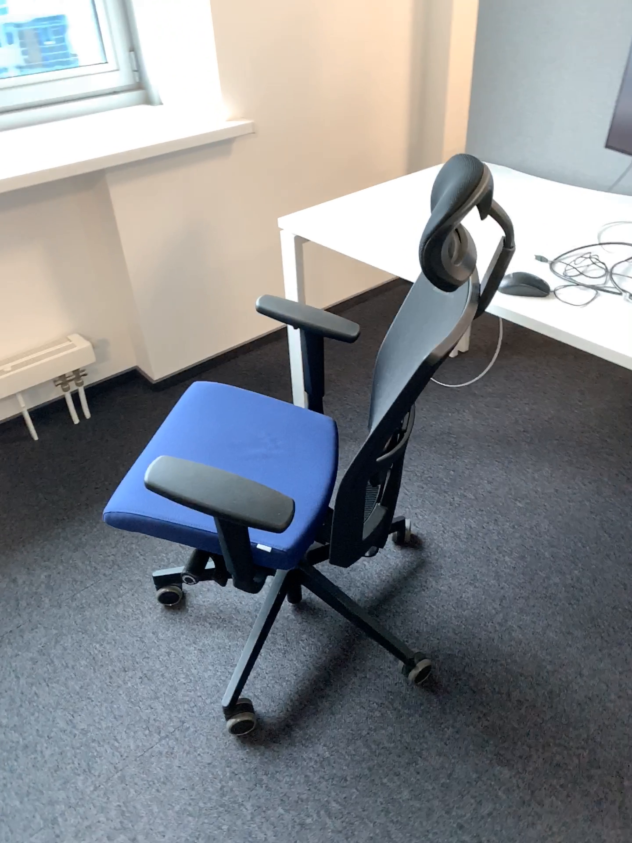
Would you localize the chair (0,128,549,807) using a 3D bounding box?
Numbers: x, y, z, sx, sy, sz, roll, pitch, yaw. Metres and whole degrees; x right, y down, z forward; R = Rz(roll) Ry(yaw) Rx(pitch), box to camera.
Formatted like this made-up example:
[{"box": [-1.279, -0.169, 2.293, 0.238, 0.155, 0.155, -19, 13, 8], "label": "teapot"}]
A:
[{"box": [-0.031, 0.051, 1.361, 0.790, 1.074, 0.754, 10, 38, 17], "label": "chair"}]
